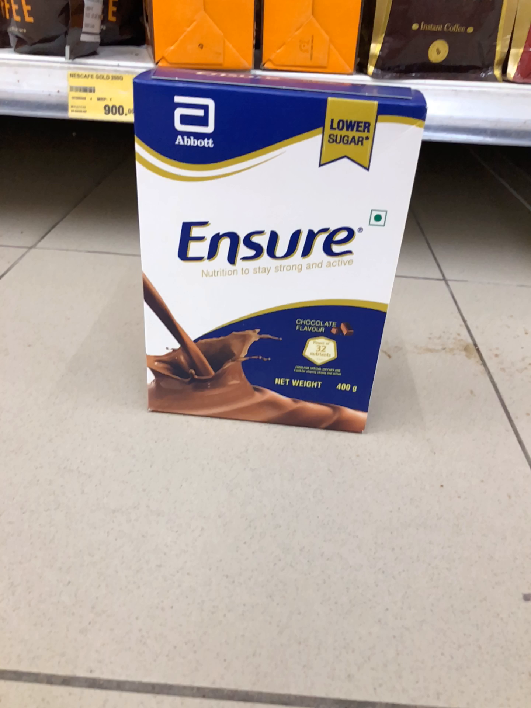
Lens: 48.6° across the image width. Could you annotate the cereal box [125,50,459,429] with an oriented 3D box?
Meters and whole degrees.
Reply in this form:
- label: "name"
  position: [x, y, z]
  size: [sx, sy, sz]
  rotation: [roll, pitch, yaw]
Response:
- label: "cereal box"
  position: [0.009, -0.057, 0.317]
  size: [0.140, 0.179, 0.060]
  rotation: [6, 32, 5]
